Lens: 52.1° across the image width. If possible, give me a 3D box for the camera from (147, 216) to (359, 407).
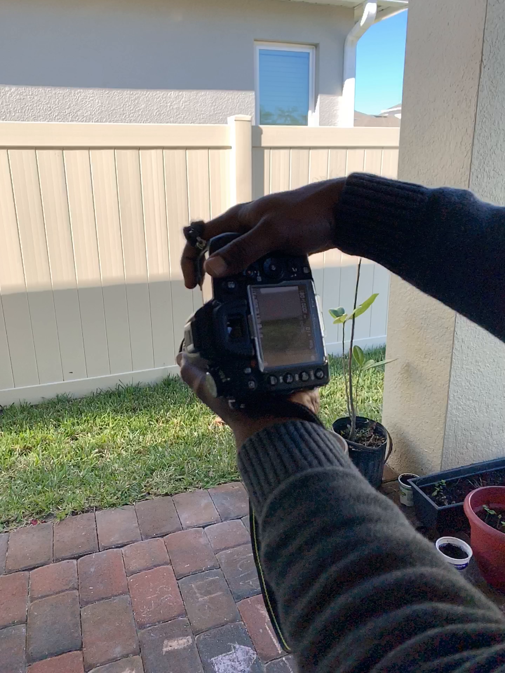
[{"bbox_3d":[-0.013,-0.011,0.397,0.090,0.110,0.170,-8,-3,-23],"label":"camera"}]
